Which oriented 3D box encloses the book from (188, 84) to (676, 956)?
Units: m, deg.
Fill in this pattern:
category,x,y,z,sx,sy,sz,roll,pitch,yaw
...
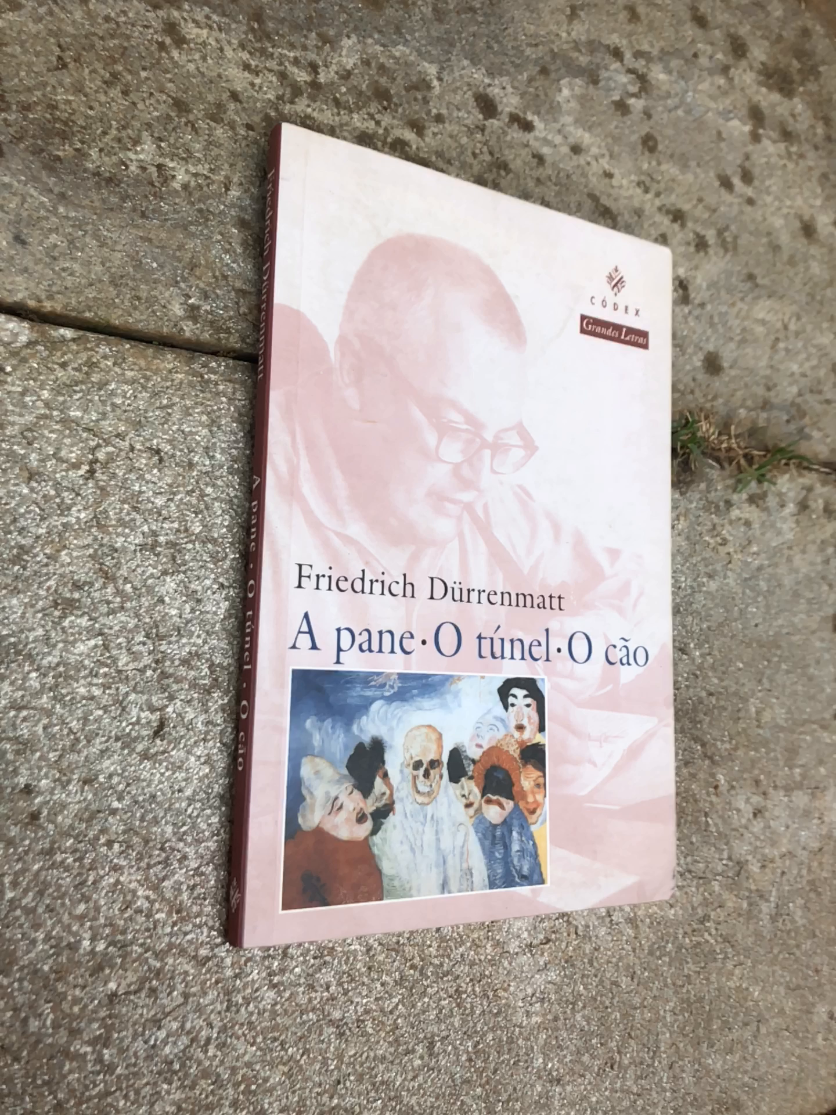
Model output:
category,x,y,z,sx,sy,sz,roll,pitch,yaw
book,0.014,-0.008,0.263,0.138,0.020,0.210,7,81,-29
